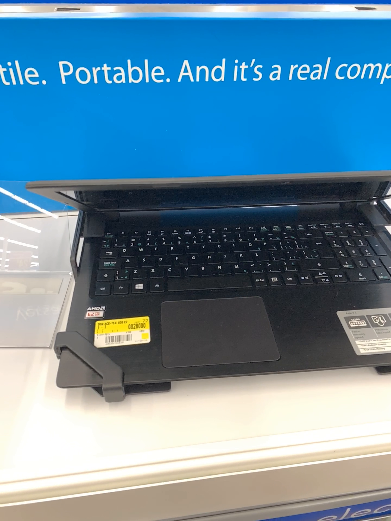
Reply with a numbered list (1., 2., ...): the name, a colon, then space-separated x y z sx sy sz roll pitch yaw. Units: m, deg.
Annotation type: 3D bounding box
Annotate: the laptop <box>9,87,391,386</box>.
1. laptop: 0.061 -0.042 0.379 0.364 0.146 0.234 -3 43 -5
